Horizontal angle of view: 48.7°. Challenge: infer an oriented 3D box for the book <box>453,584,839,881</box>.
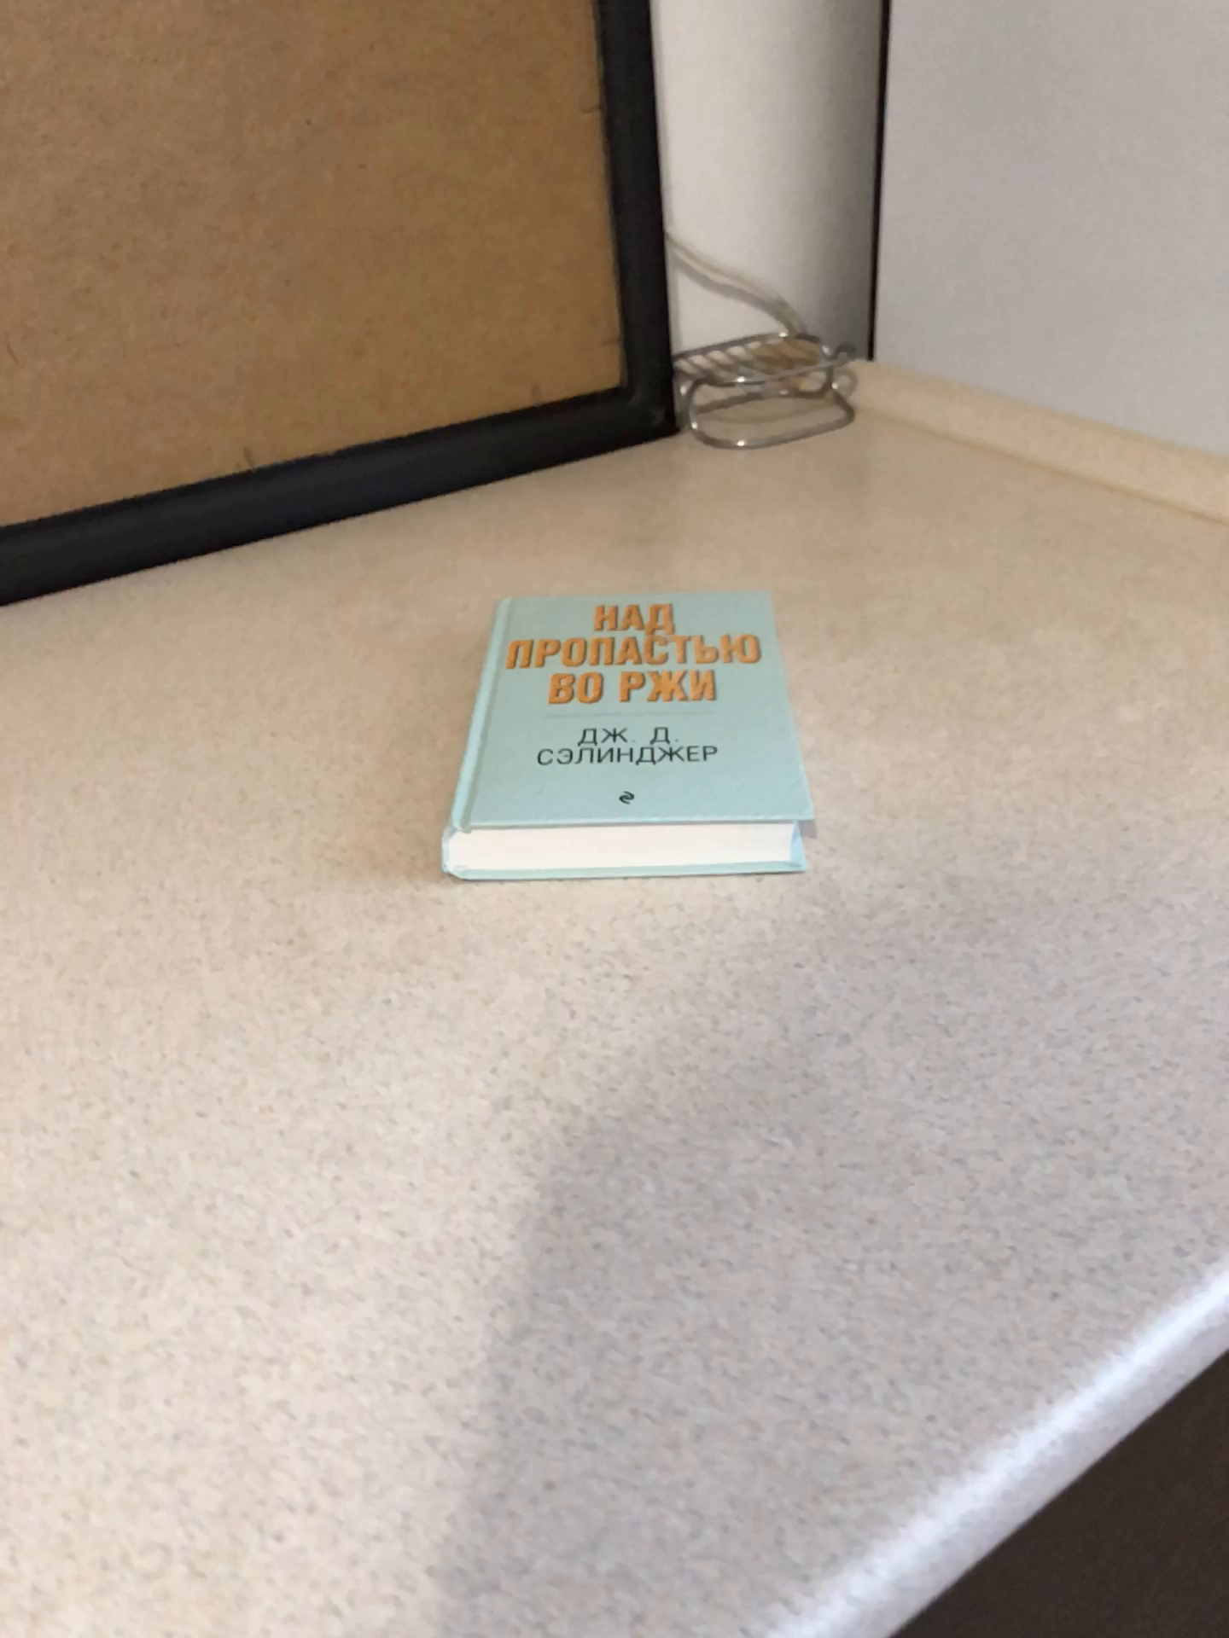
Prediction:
[{"bbox_3d":[0.011,-0.038,0.482,0.115,0.020,0.177,-2,32,2],"label":"book"}]
